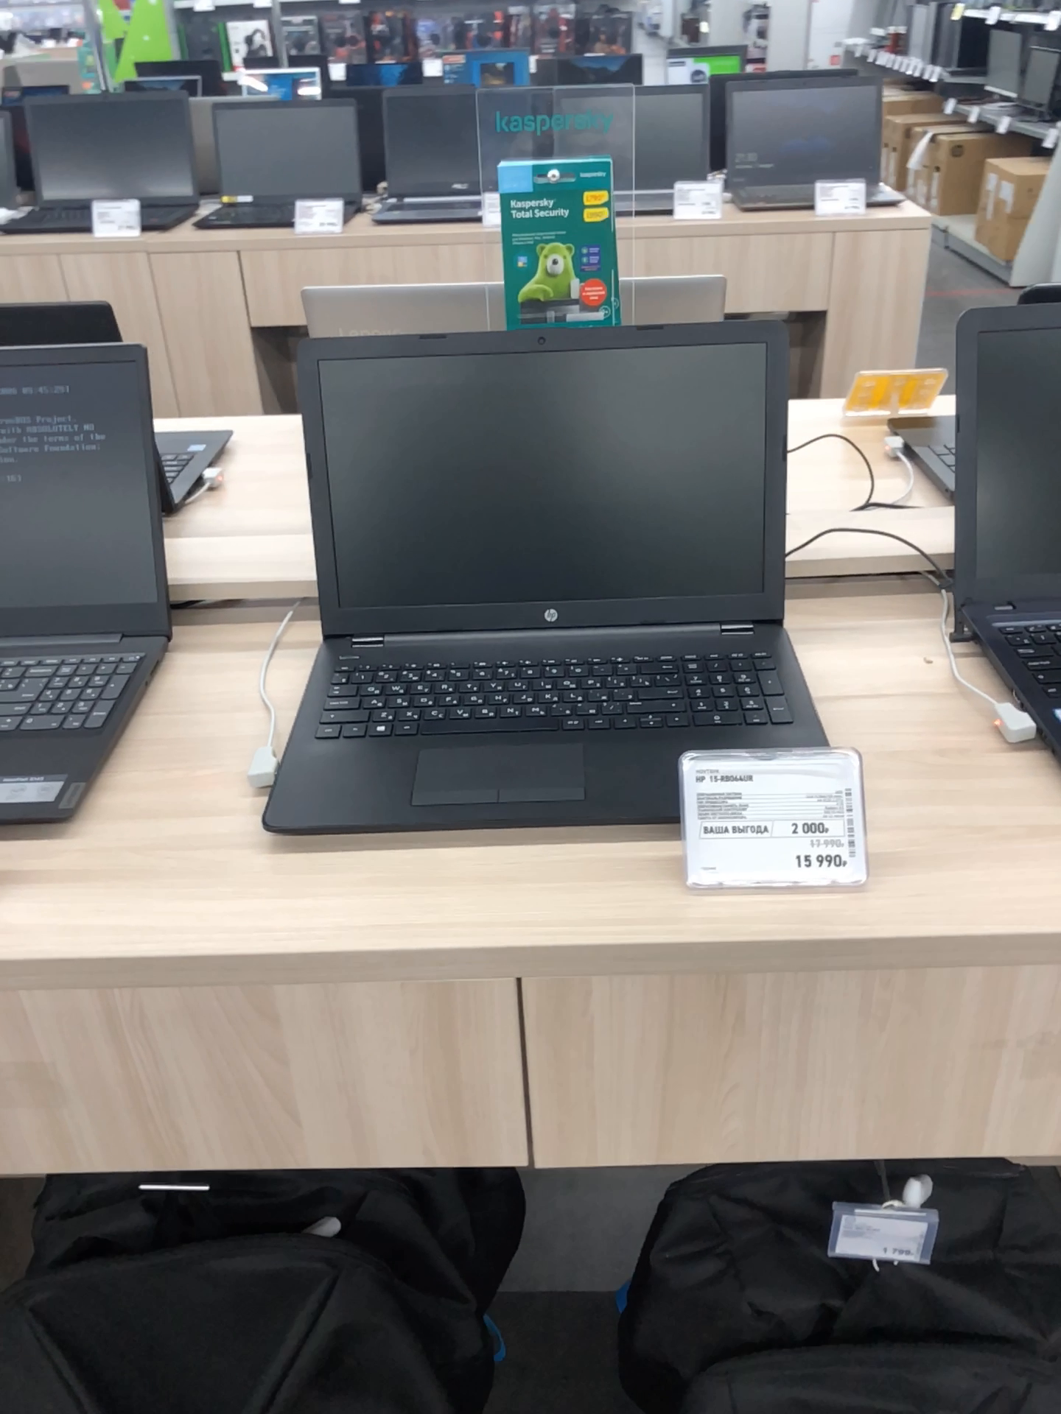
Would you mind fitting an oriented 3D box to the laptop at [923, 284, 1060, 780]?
[{"bbox_3d":[0.533,-0.142,0.820,0.369,0.209,0.335,-3,33,-1],"label":"laptop"}]

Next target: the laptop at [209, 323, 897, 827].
[{"bbox_3d":[0.014,-0.108,0.808,0.366,0.216,0.313,-2,32,1],"label":"laptop"}]

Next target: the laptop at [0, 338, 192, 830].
[{"bbox_3d":[-0.475,-0.107,0.843,0.331,0.213,0.329,-2,32,1],"label":"laptop"}]
